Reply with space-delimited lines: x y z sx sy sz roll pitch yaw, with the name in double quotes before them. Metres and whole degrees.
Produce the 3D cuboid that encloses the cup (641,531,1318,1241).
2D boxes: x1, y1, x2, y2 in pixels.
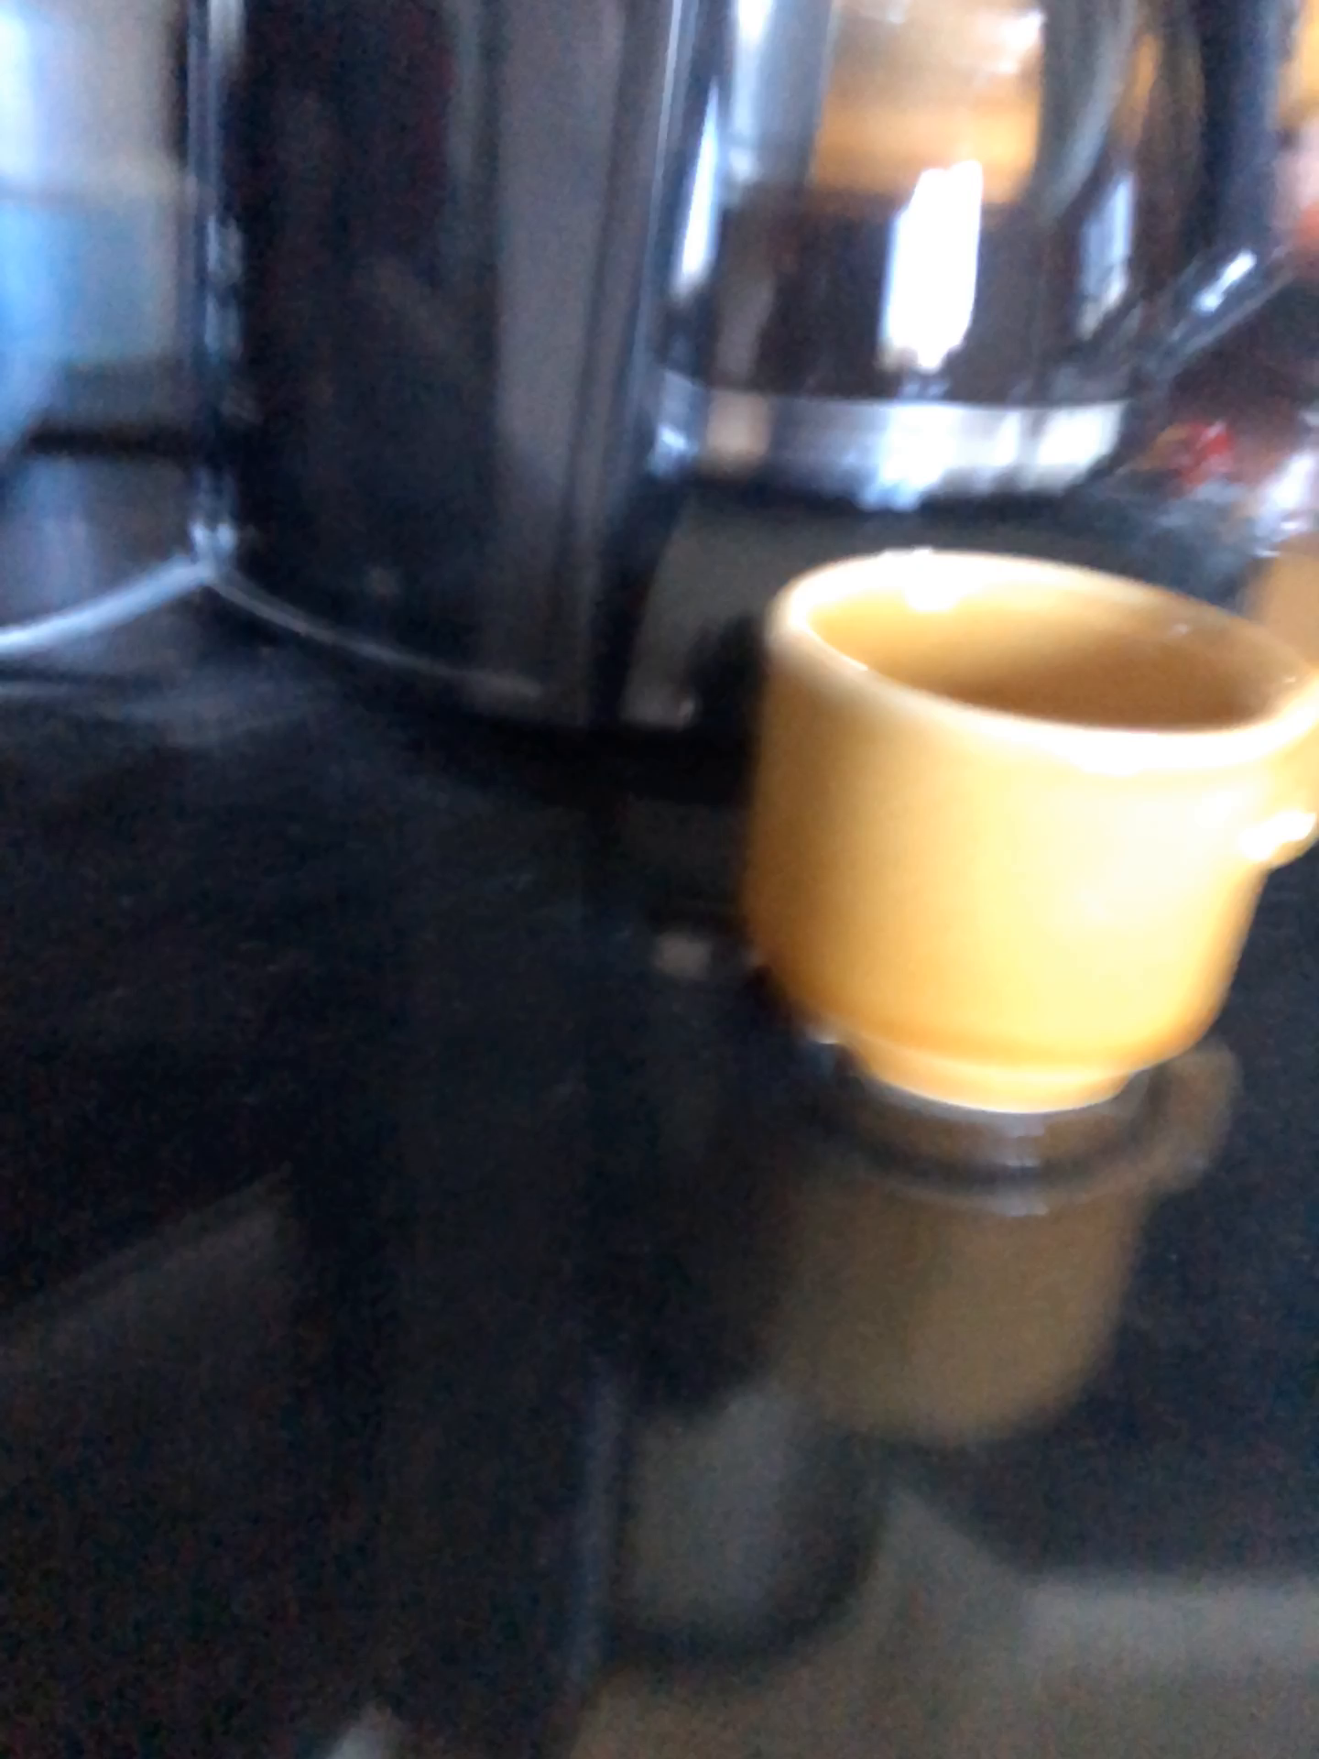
"cup" 0.059 -0.008 0.190 0.100 0.050 0.070 -10 33 -25
